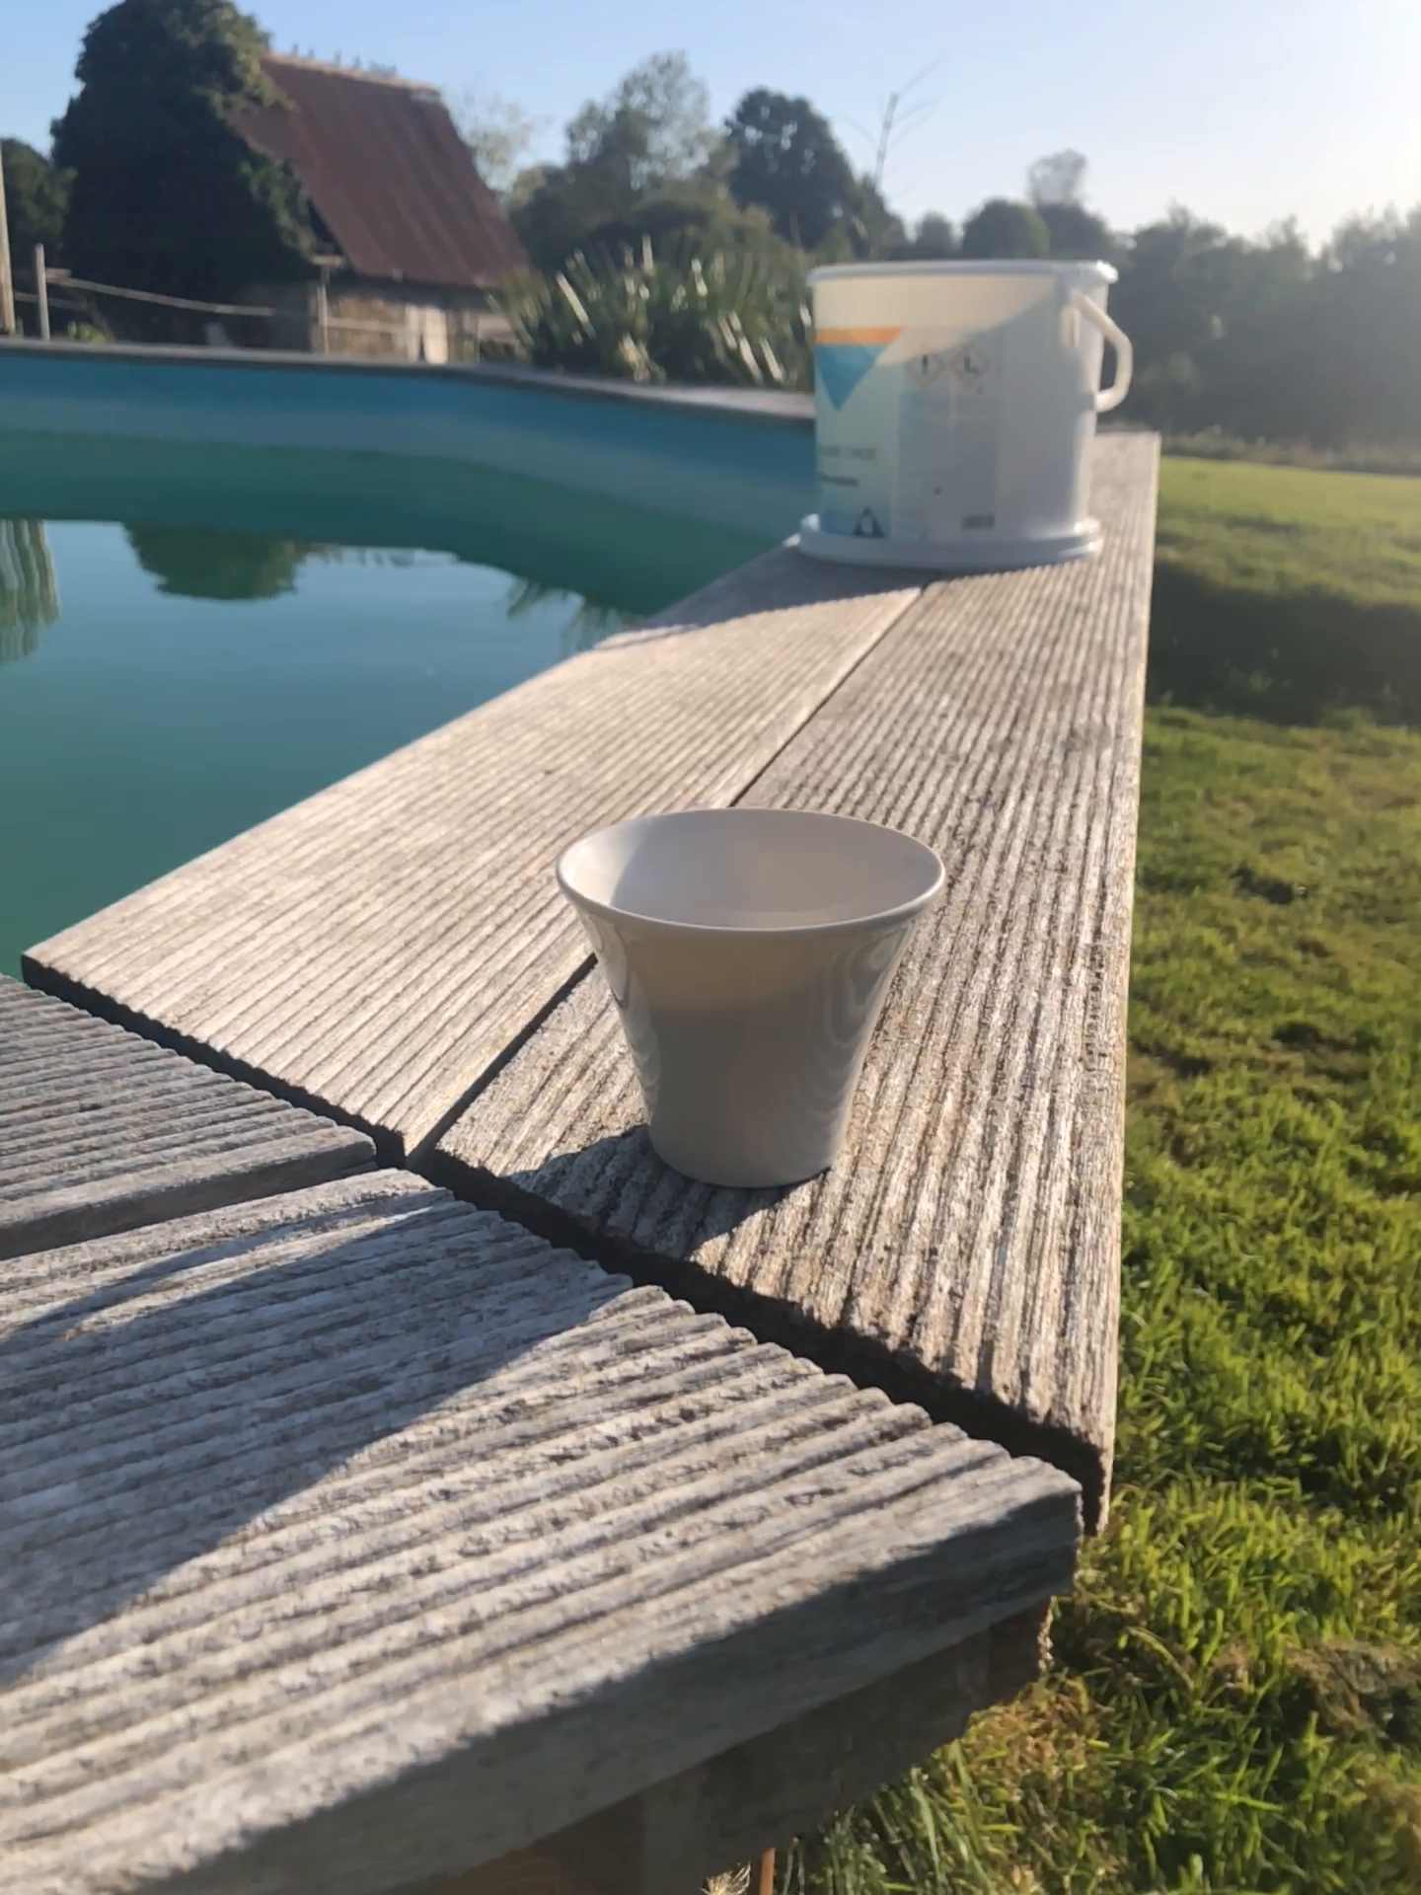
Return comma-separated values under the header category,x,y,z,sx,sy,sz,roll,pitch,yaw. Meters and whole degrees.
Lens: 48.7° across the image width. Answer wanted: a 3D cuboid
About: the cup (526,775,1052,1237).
category,x,y,z,sx,sy,sz,roll,pitch,yaw
cup,0.009,0.005,0.320,0.076,0.053,0.097,-5,22,-16
